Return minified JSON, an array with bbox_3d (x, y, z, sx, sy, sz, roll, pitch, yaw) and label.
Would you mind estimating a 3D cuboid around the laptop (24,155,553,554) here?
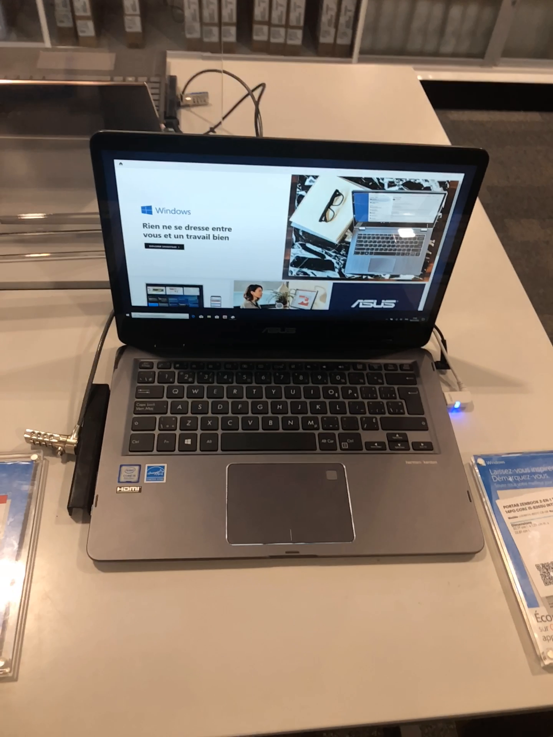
[{"bbox_3d":[0.012,-0.009,0.471,0.302,0.217,0.225,0,48,-4],"label":"laptop"}]
